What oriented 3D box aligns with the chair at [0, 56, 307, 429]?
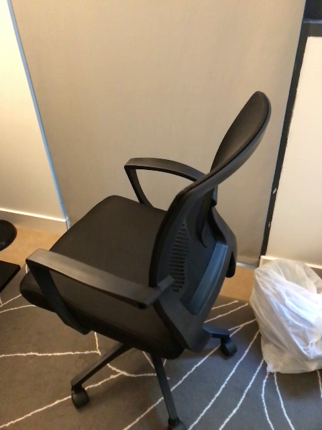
[{"bbox_3d":[-0.078,0.110,1.199,0.790,0.992,0.836,15,41,22],"label":"chair"}]
